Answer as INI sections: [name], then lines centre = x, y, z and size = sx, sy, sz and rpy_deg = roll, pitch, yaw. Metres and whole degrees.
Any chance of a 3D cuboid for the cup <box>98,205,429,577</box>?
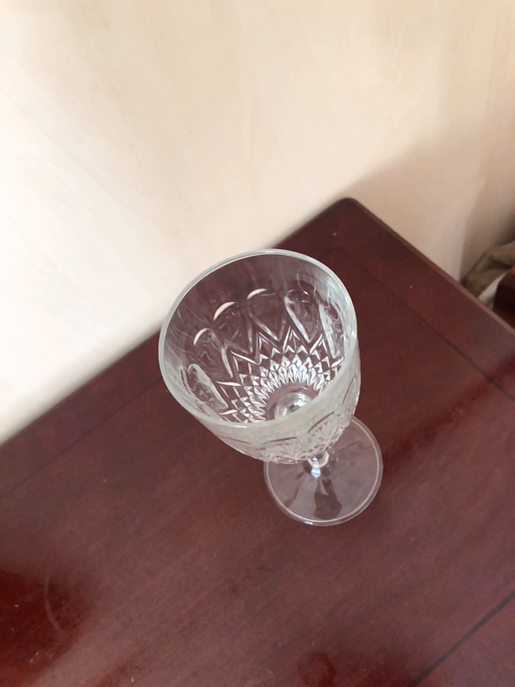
[cup]
centre = 0.018, 0.040, 0.296
size = 0.096, 0.179, 0.092
rpy_deg = -7, 61, 12
